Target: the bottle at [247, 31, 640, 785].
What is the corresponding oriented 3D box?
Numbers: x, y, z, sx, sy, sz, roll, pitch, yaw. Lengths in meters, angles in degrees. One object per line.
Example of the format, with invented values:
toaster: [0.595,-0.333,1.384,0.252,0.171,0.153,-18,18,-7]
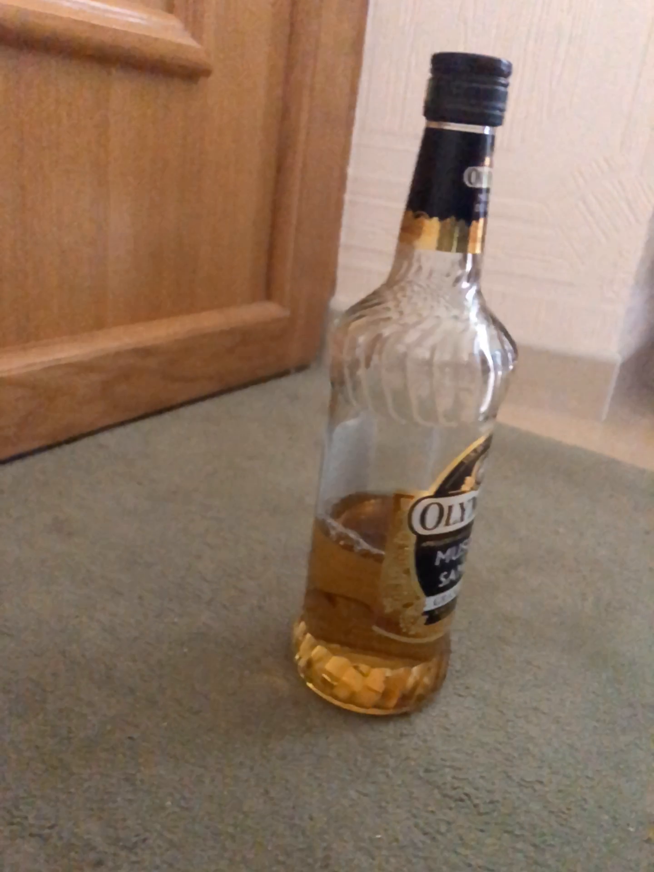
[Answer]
bottle: [0.040,-0.006,0.321,0.090,0.288,0.091,6,22,-3]
